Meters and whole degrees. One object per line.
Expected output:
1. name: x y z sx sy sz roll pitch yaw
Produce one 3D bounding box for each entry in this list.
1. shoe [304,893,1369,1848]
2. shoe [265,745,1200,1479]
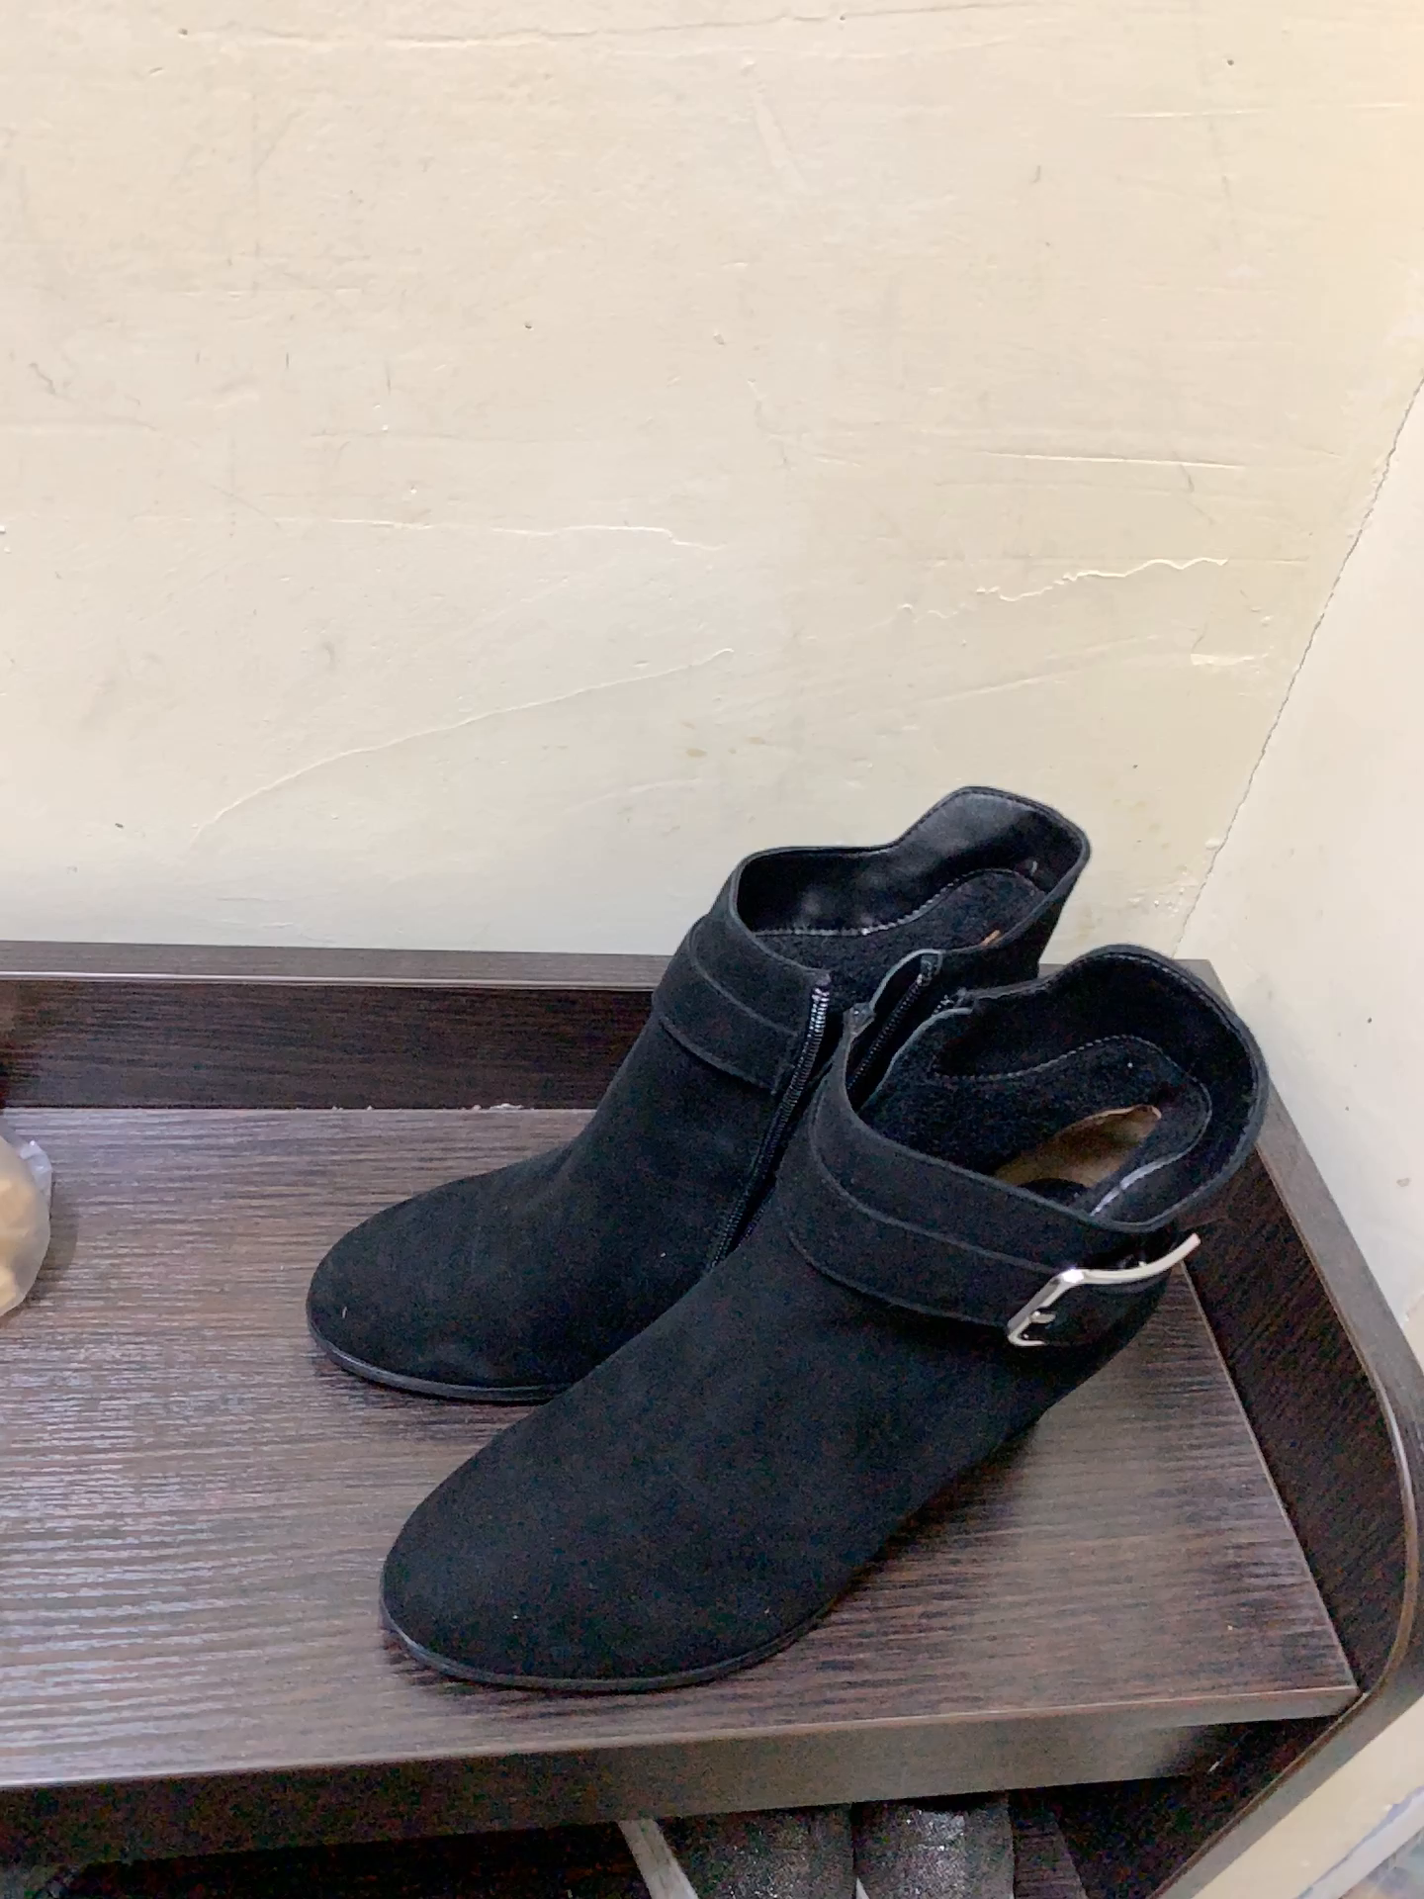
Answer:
1. shoe: 0.025 0.108 0.398 0.240 0.189 0.088 -13 45 -26
2. shoe: -0.005 0.048 0.455 0.240 0.189 0.089 -7 43 -20
